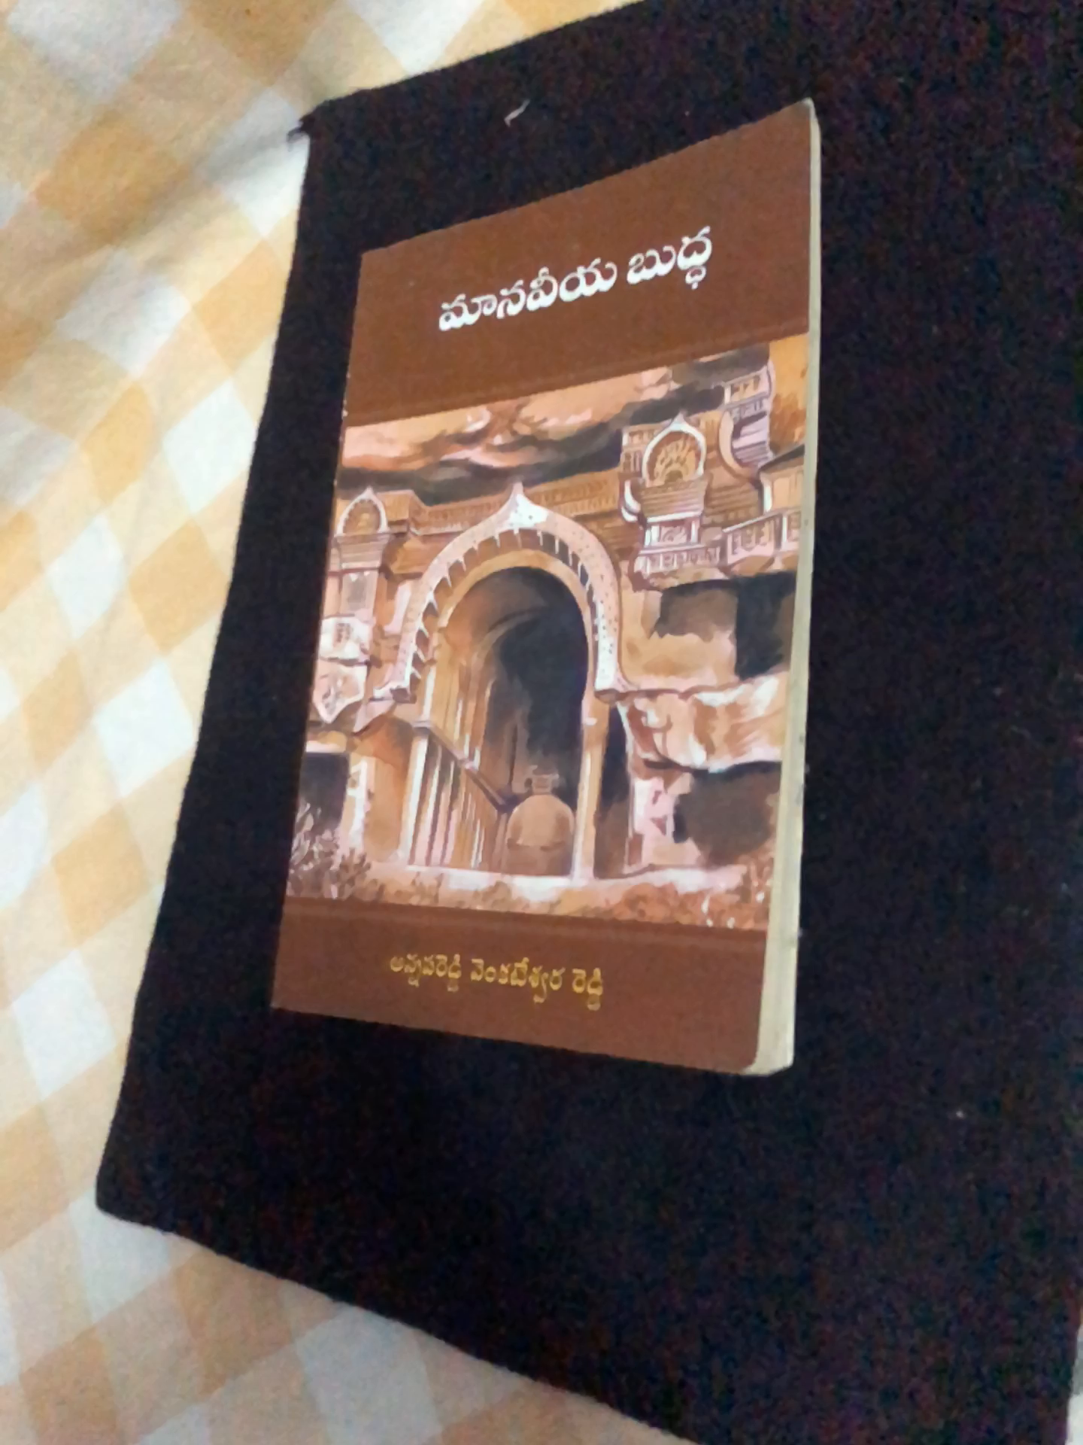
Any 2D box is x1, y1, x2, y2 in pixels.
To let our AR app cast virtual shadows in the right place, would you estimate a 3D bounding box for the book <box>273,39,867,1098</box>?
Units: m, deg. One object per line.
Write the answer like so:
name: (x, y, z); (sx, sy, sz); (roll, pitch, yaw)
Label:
book: (0.005, -0.037, 0.296); (0.140, 0.020, 0.230); (-3, 76, 35)
